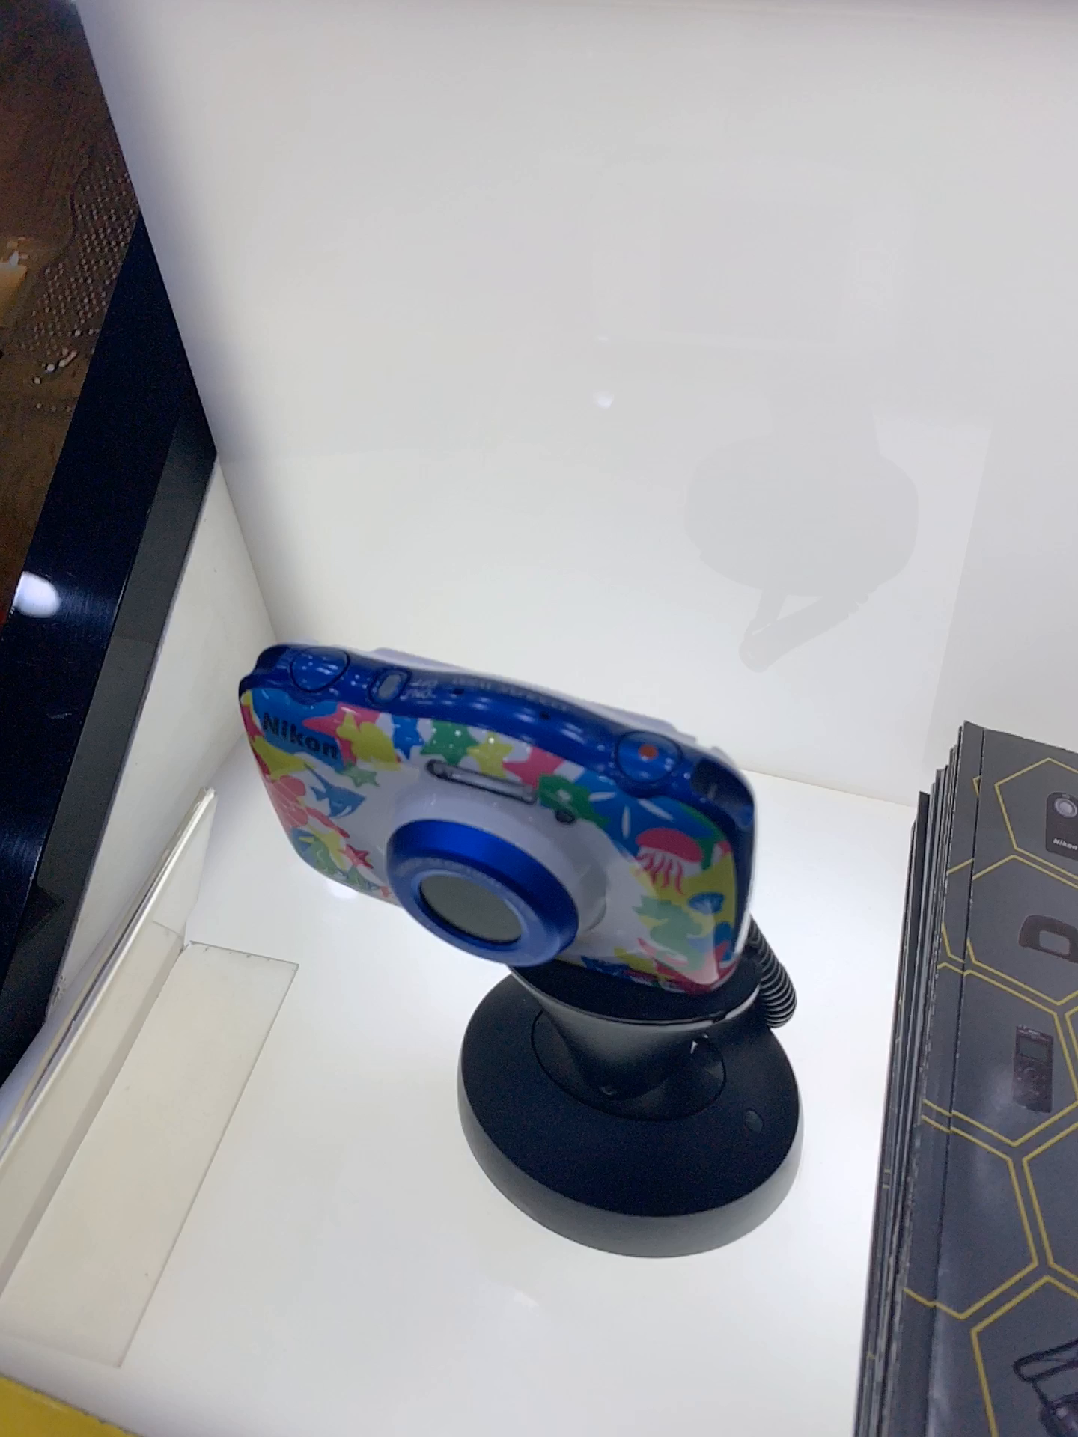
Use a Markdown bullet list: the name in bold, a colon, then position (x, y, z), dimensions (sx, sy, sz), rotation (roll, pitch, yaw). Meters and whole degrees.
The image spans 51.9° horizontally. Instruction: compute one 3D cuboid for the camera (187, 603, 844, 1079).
- **camera**: position (-0.005, 0.024, 0.234), dimensions (0.120, 0.060, 0.040), rotation (15, 50, 18)
